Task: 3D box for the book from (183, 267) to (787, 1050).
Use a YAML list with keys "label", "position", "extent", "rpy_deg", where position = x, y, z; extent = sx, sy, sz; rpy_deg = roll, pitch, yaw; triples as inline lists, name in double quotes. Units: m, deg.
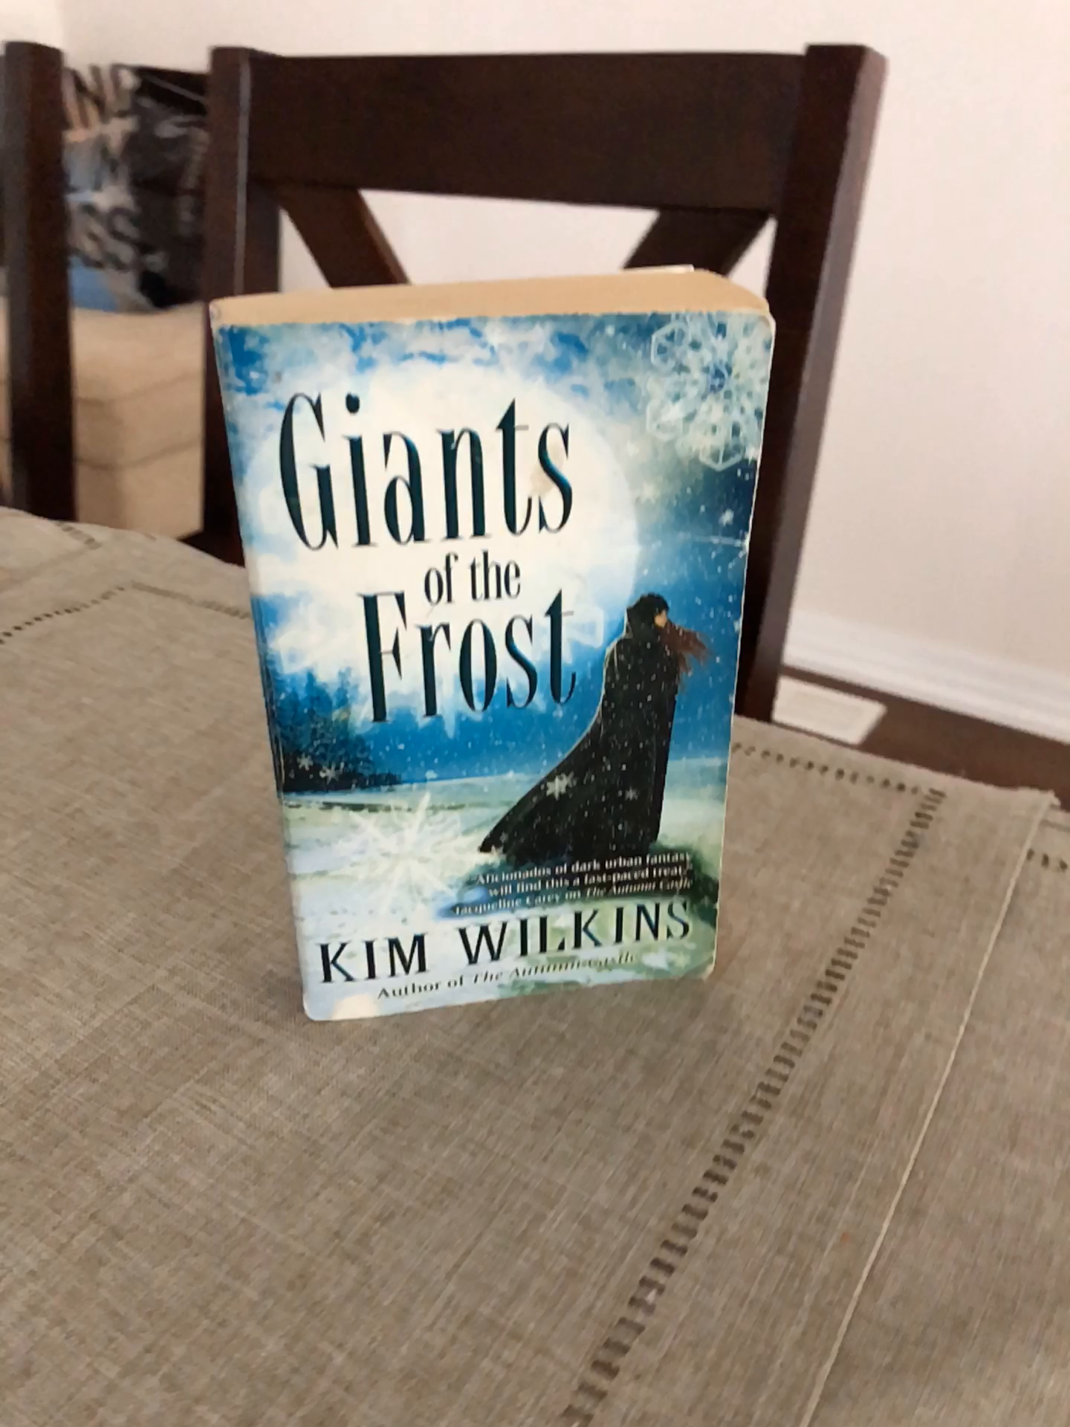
- label: "book"
  position: [-0.010, -0.009, 0.276]
  extent: [0.111, 0.168, 0.043]
  rpy_deg: [-6, 29, -10]
